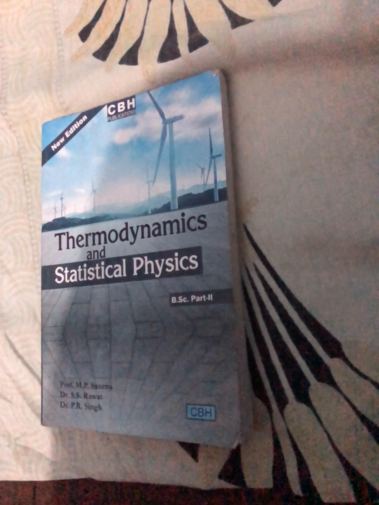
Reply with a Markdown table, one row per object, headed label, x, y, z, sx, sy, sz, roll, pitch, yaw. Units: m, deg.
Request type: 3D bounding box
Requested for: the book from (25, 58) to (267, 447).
| label | x | y | z | sx | sy | sz | roll | pitch | yaw |
| --- | --- | --- | --- | --- | --- | --- | --- | --- | --- |
| book | -0.042 | 0.005 | 0.311 | 0.170 | 0.030 | 0.240 | -7 | 85 | 27 |
